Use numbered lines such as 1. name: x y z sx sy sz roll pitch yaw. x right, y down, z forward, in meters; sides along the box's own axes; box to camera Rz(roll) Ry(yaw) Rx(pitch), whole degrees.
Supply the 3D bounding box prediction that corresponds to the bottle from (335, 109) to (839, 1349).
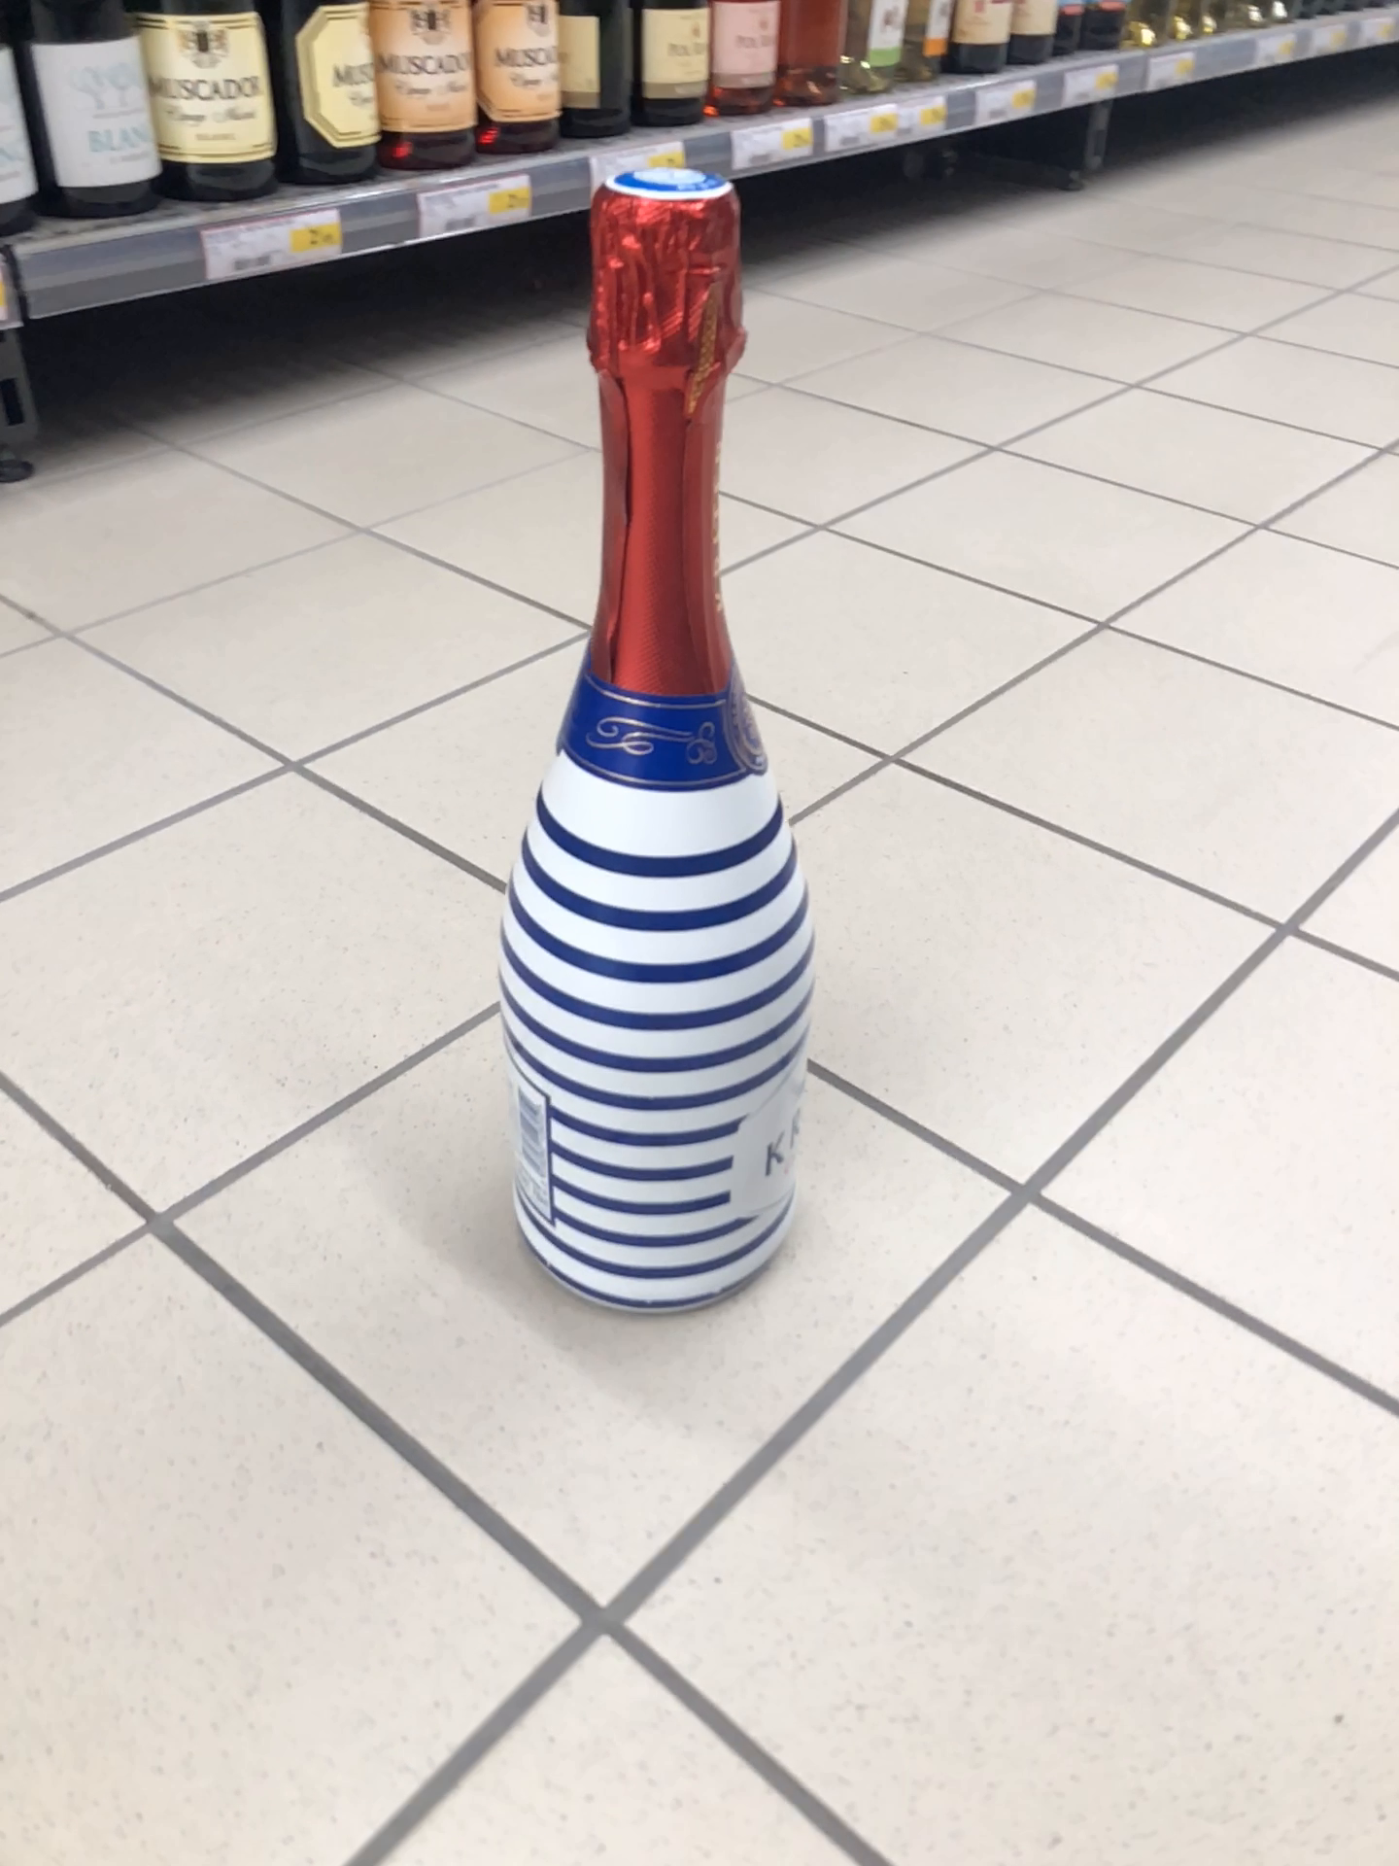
1. bottle: -0.024 -0.035 0.403 0.090 0.308 0.101 2 35 -1
